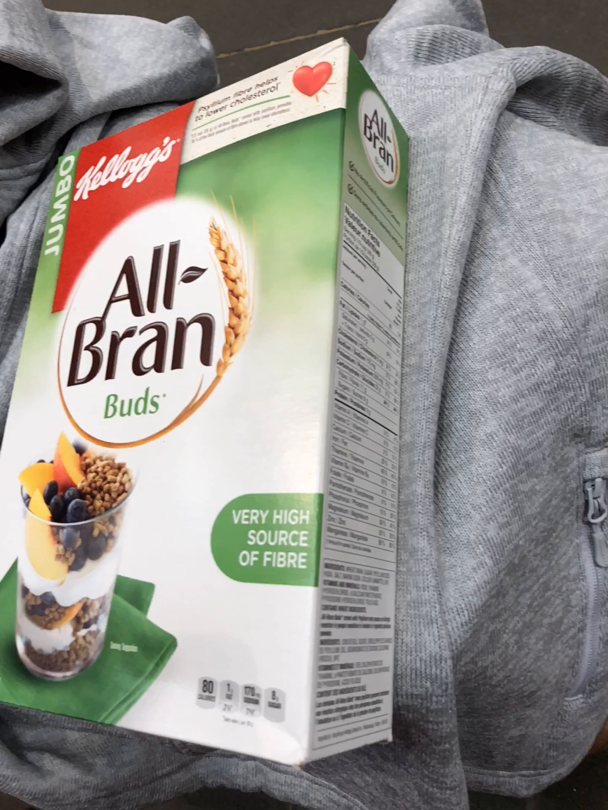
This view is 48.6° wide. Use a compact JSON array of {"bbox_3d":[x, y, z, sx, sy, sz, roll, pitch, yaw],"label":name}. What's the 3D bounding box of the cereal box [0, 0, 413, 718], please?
[{"bbox_3d":[-0.054,-0.025,0.327,0.201,0.070,0.300,-9,67,32],"label":"cereal box"}]
